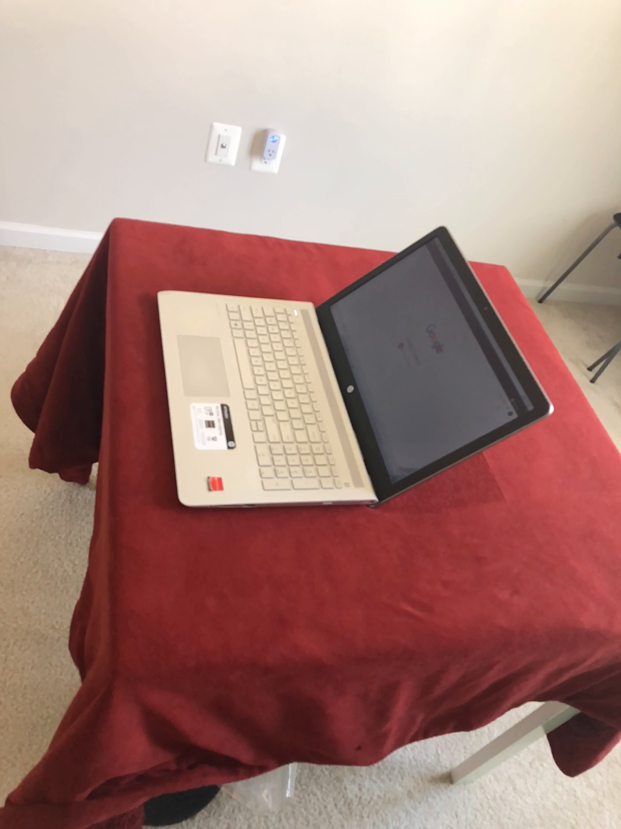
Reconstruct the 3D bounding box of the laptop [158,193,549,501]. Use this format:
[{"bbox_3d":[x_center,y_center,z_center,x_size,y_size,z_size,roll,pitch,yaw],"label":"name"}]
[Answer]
[{"bbox_3d":[0.025,-0.089,0.870,0.396,0.158,0.361,1,48,-19],"label":"laptop"}]
